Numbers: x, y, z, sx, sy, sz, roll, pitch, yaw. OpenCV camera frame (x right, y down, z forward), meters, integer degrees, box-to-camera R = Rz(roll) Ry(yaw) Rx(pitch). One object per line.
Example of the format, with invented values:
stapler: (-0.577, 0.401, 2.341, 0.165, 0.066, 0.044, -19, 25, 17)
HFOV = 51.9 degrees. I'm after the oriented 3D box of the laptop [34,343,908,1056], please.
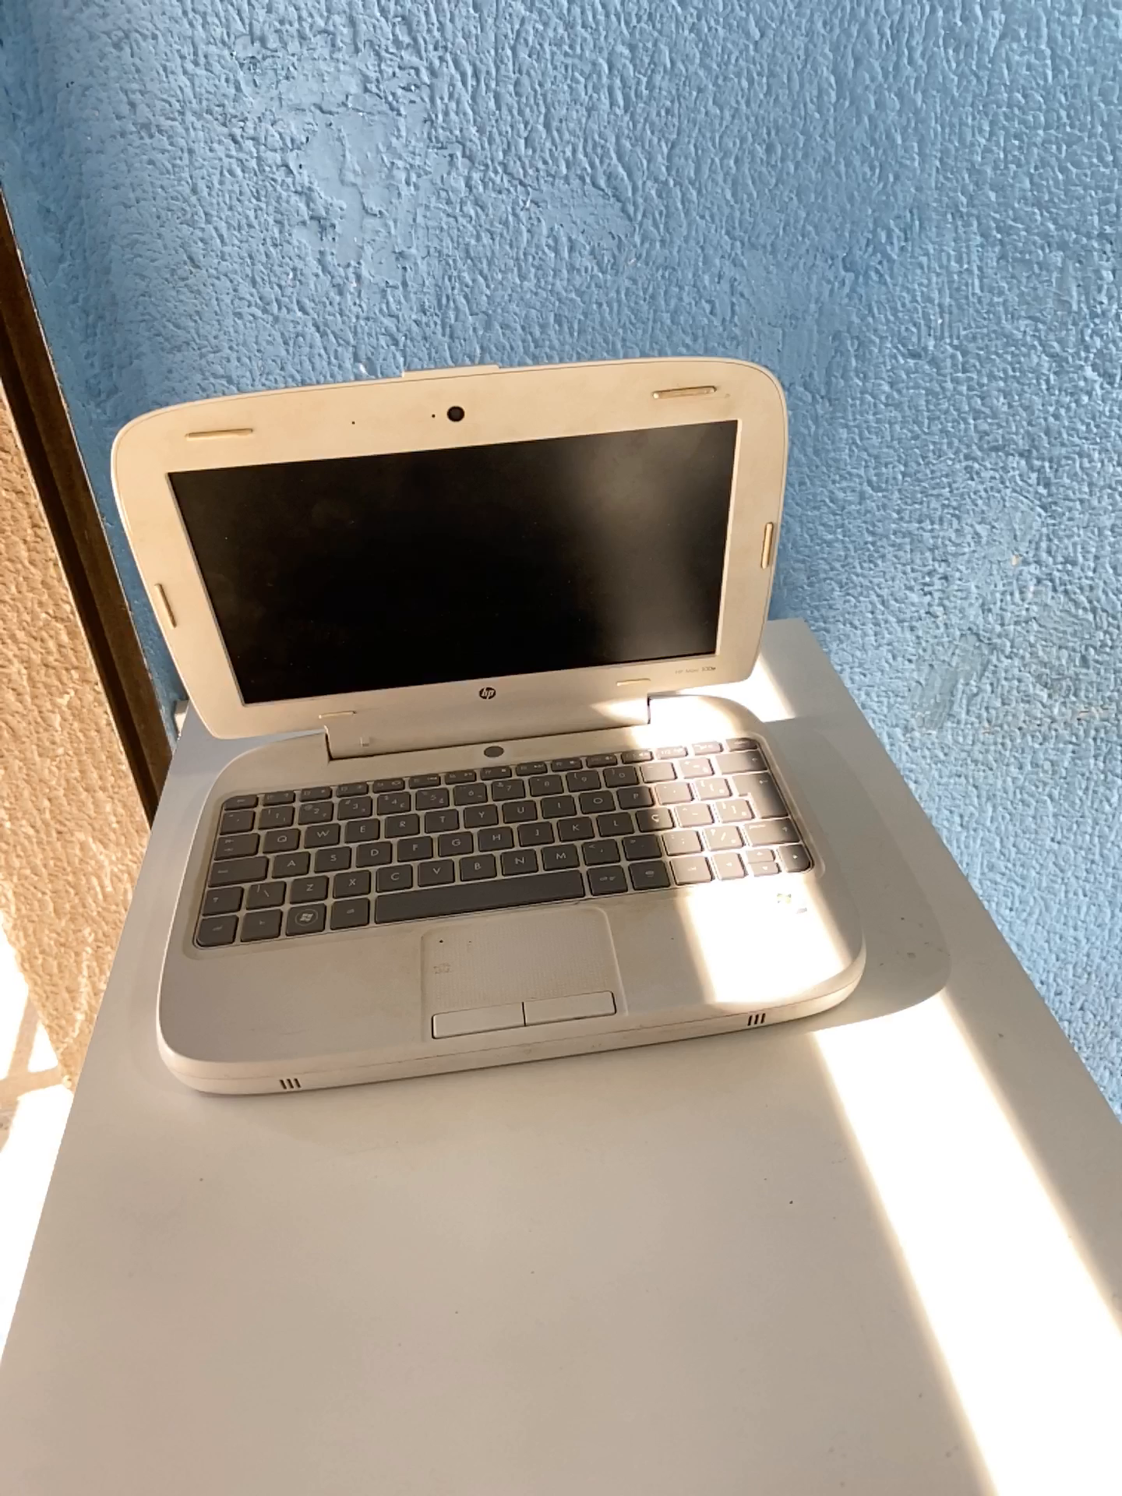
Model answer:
laptop: (-0.031, -0.028, 0.444, 0.247, 0.172, 0.178, -7, 35, -3)
